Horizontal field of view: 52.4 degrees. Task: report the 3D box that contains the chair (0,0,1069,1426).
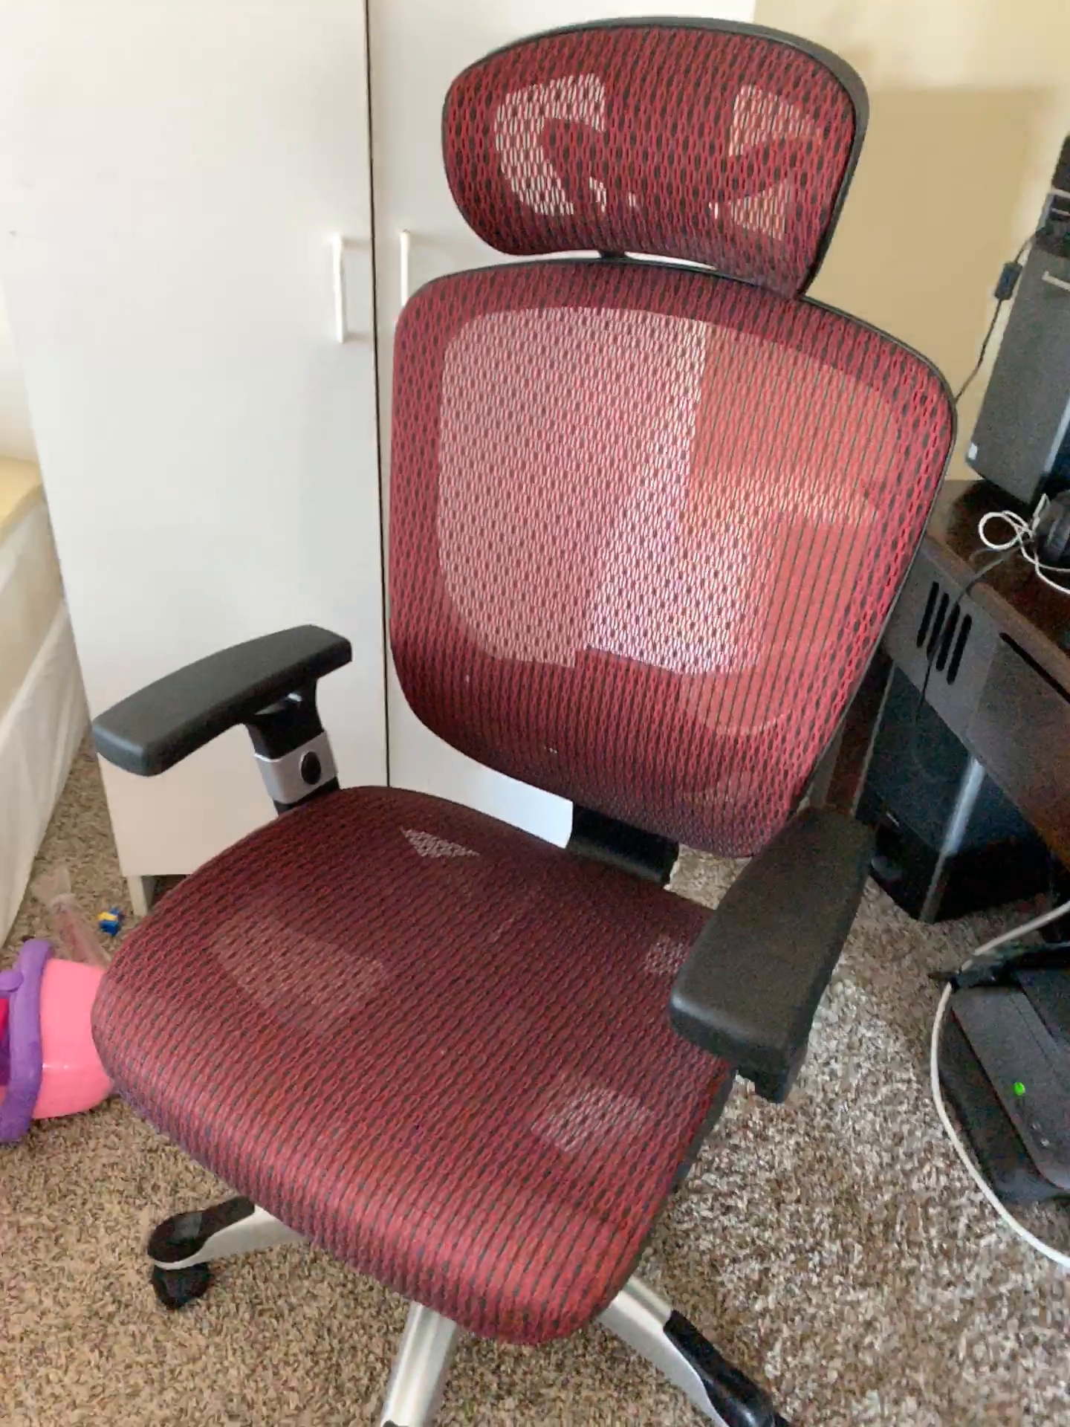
[{"bbox_3d":[0.018,0.109,0.903,0.731,1.154,0.813,22,37,28],"label":"chair"}]
